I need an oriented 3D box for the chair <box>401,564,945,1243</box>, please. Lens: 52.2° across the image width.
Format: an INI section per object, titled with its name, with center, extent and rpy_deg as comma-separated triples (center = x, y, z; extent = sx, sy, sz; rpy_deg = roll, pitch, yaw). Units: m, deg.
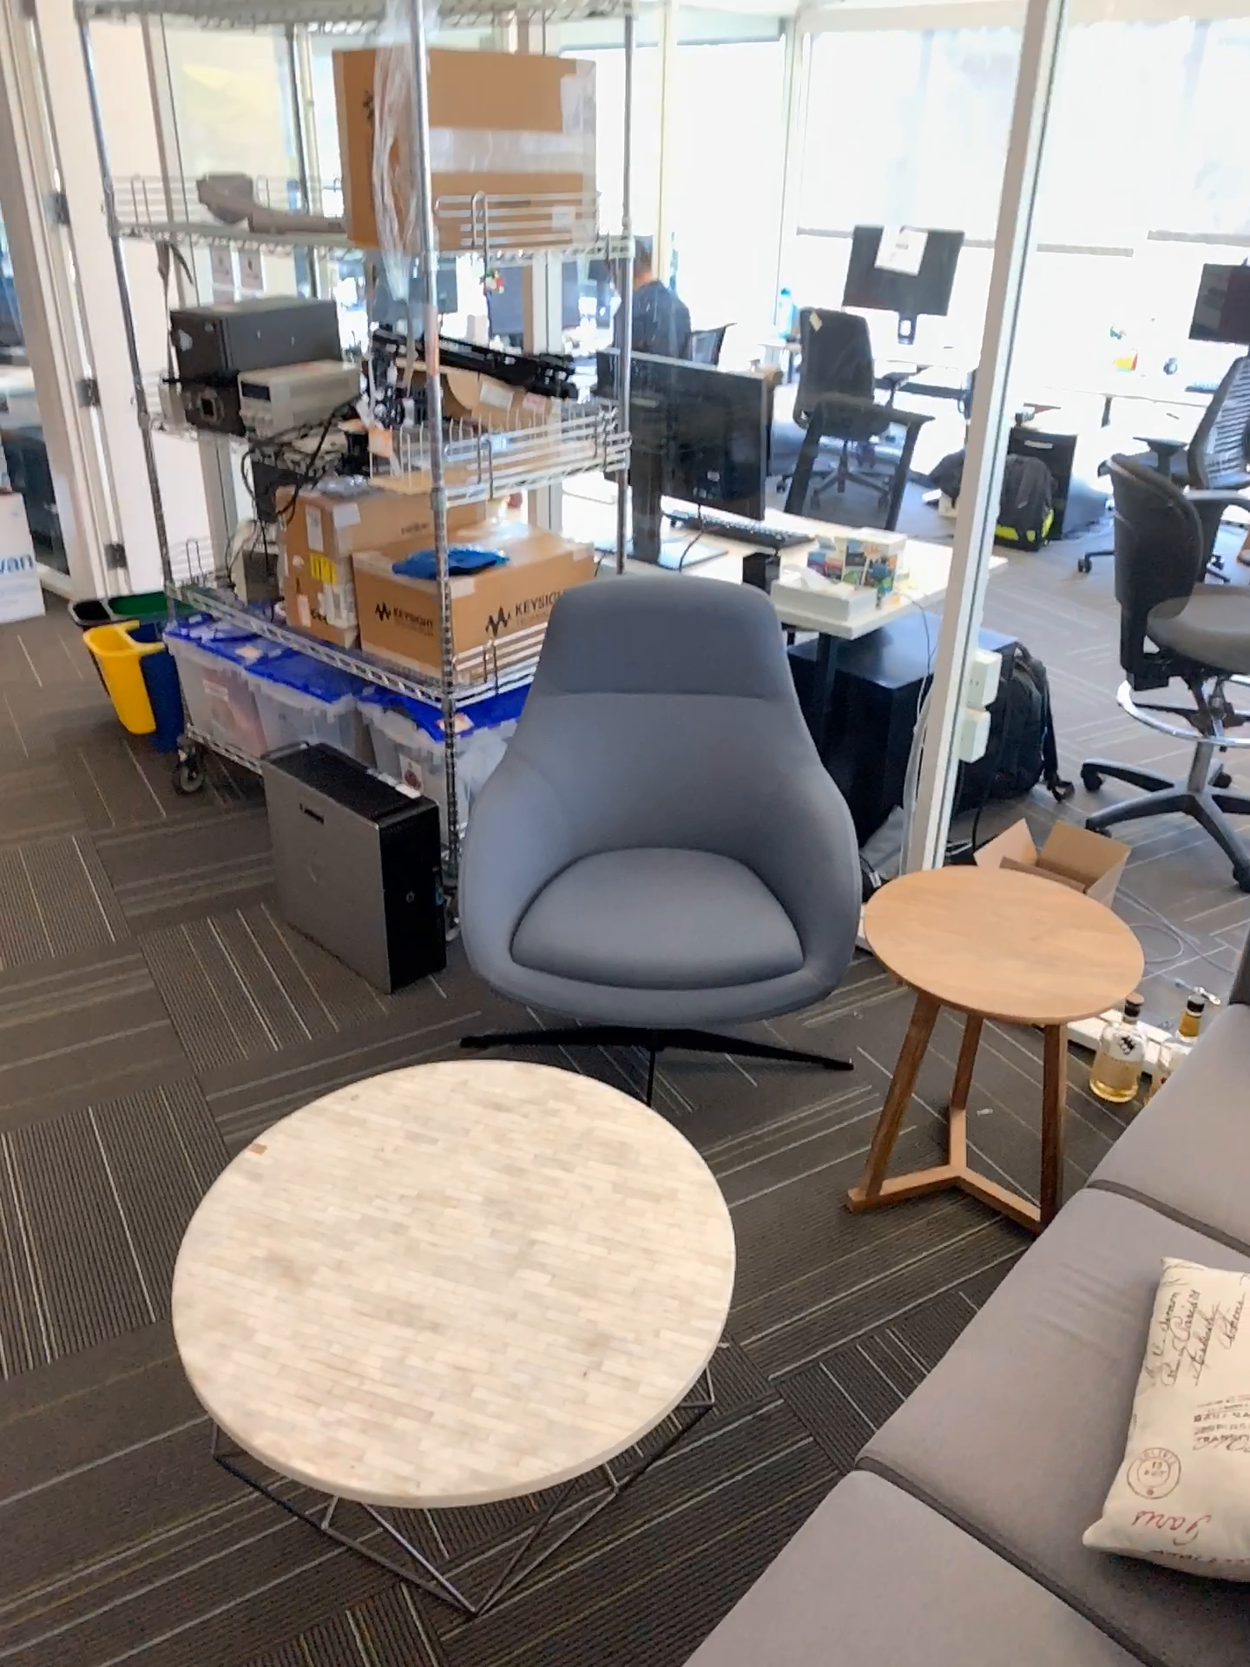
[chair]
center = 0.105, 0.080, 2.633
extent = 0.840, 0.964, 1.006
rpy_deg = 3, 28, 4
